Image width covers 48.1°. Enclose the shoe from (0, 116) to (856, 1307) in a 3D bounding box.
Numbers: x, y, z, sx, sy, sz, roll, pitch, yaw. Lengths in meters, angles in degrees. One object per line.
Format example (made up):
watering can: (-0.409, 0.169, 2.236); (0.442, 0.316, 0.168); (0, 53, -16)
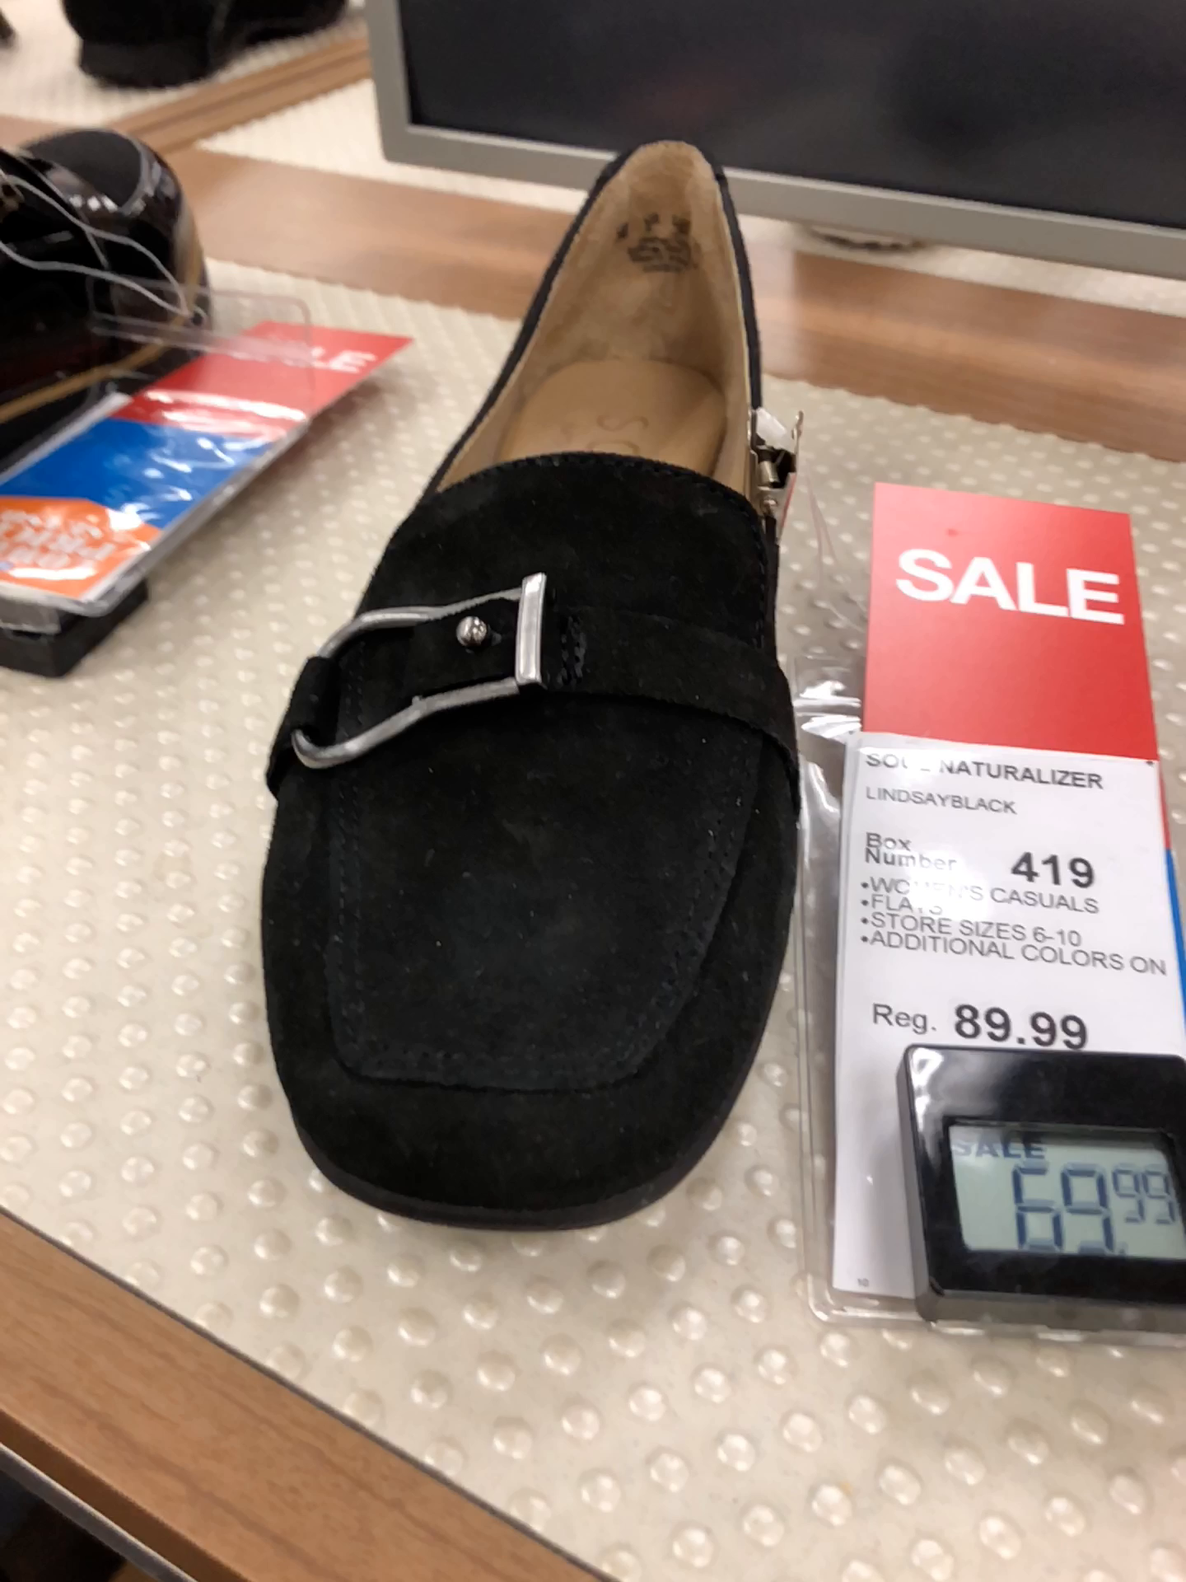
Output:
shoe: (-0.001, -0.045, 0.236); (0.080, 0.079, 0.239); (4, 41, 6)
